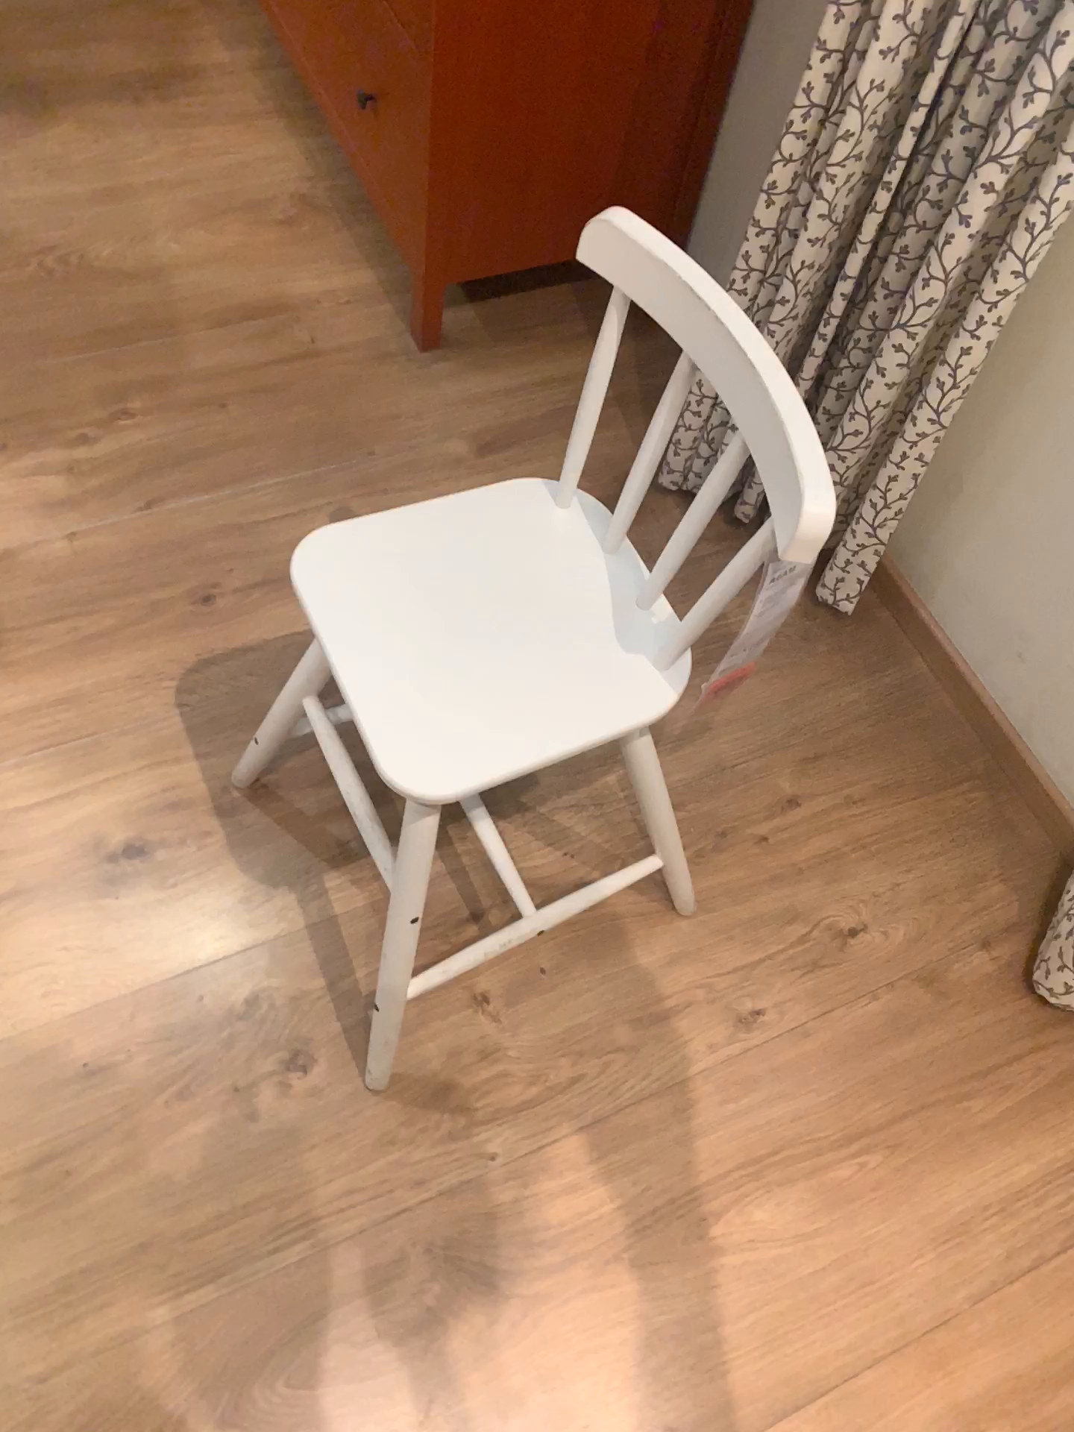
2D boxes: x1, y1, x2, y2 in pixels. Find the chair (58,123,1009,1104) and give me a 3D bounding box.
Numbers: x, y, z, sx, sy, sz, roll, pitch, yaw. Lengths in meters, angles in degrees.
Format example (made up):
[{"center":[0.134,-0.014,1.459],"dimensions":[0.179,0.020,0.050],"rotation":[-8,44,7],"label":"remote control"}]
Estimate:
[{"center":[-0.051,-0.036,0.950],"dimensions":[0.430,0.649,0.451],"rotation":[-21,65,-19],"label":"chair"}]
